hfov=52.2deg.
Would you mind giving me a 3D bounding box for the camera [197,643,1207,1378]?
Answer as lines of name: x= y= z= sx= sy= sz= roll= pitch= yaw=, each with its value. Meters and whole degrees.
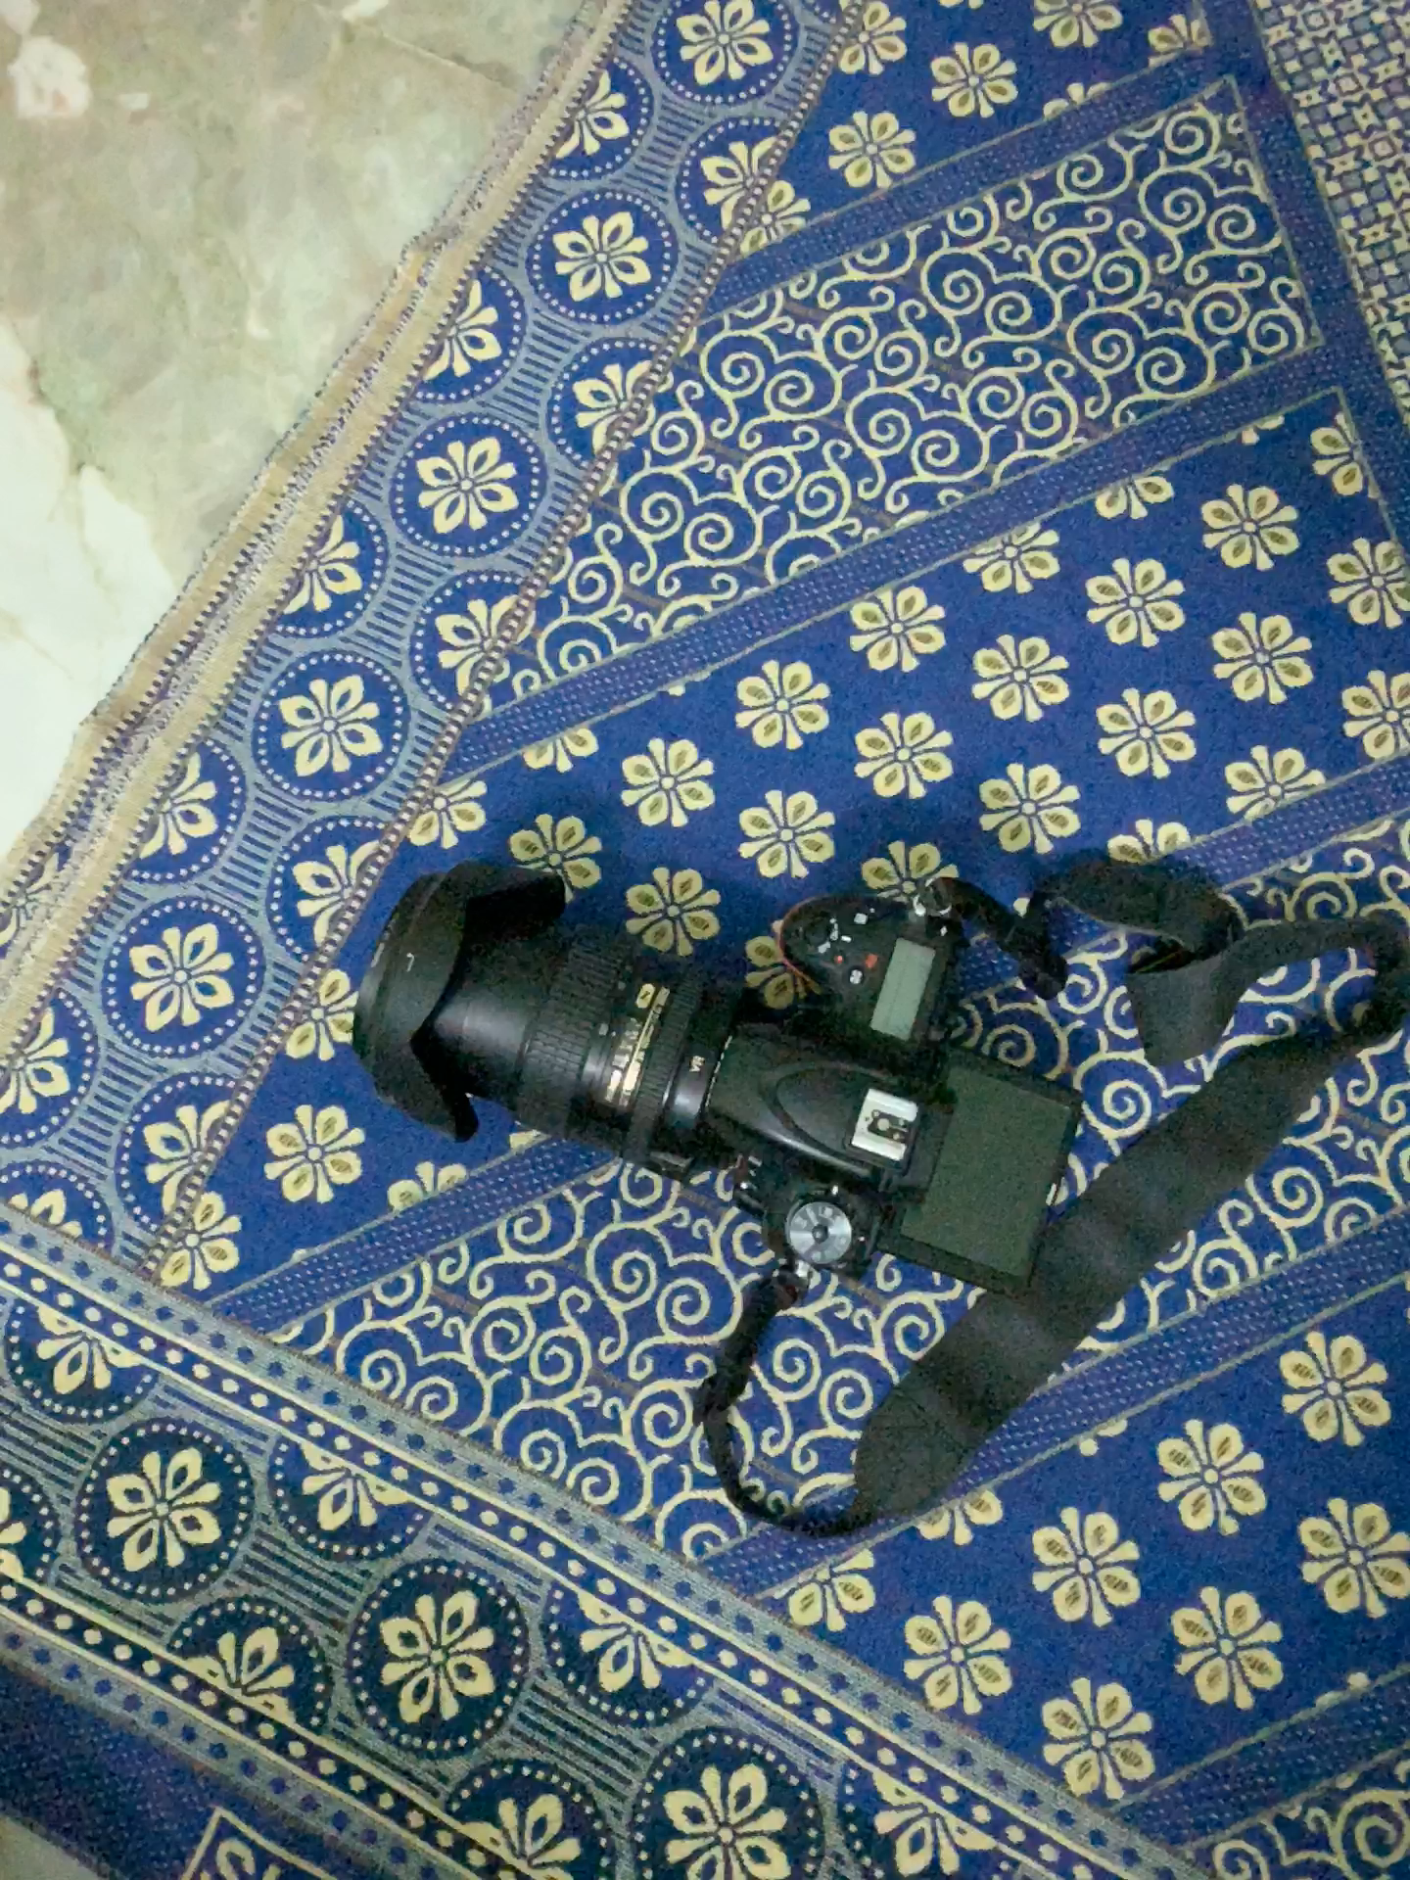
camera: x=-0.001 y=0.026 z=0.558 sx=0.320 sy=0.110 sz=0.160 roll=20 pitch=81 yaw=9
